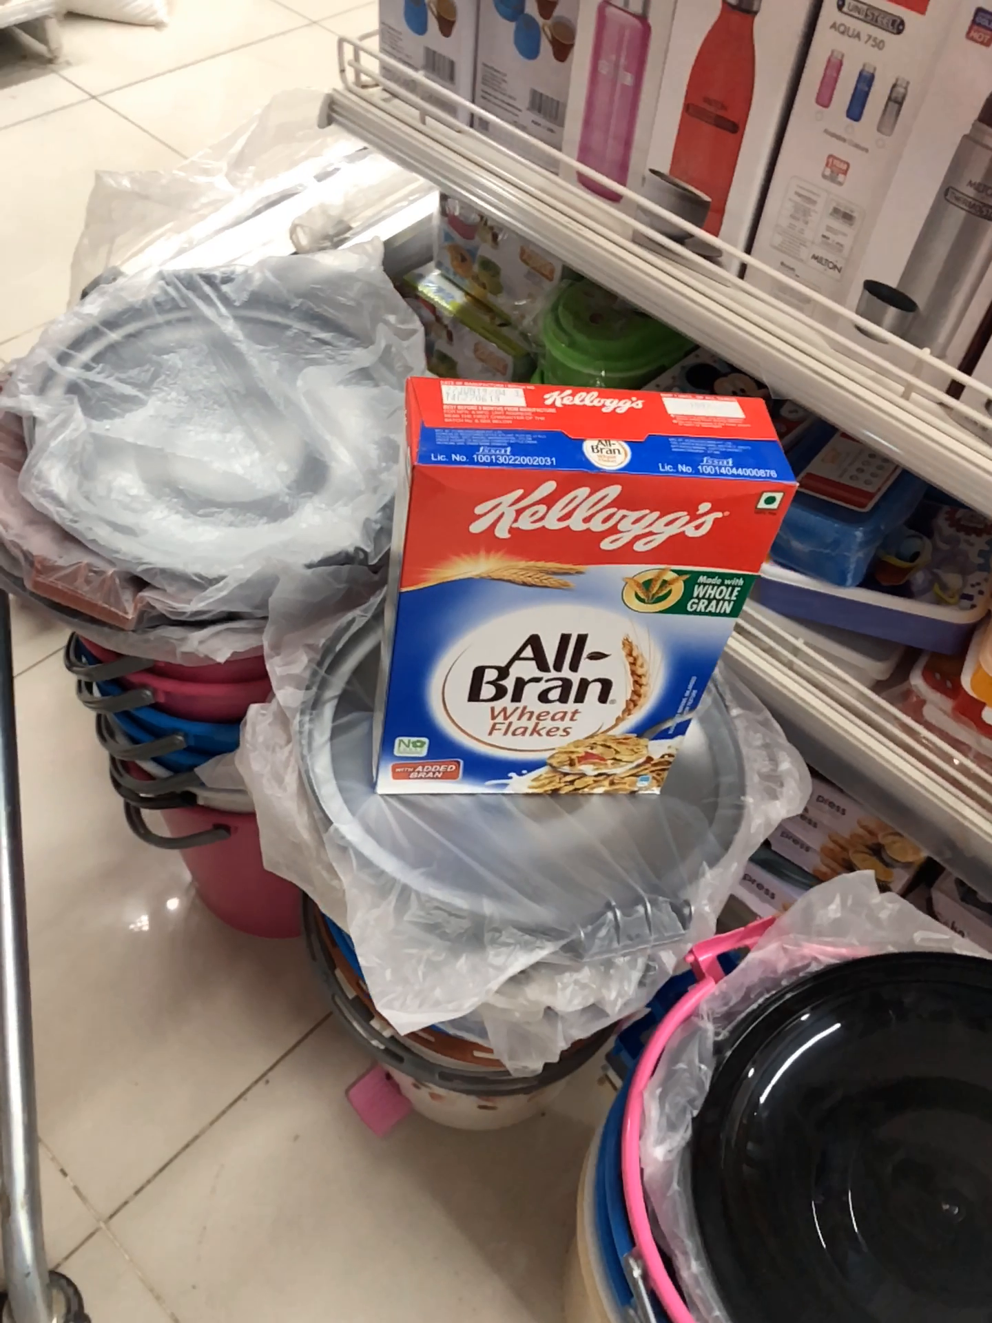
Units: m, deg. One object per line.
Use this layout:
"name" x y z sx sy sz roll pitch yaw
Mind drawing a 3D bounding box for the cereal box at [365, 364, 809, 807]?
"cereal box" 0.028 -0.023 0.606 0.190 0.269 0.070 1 49 -8
